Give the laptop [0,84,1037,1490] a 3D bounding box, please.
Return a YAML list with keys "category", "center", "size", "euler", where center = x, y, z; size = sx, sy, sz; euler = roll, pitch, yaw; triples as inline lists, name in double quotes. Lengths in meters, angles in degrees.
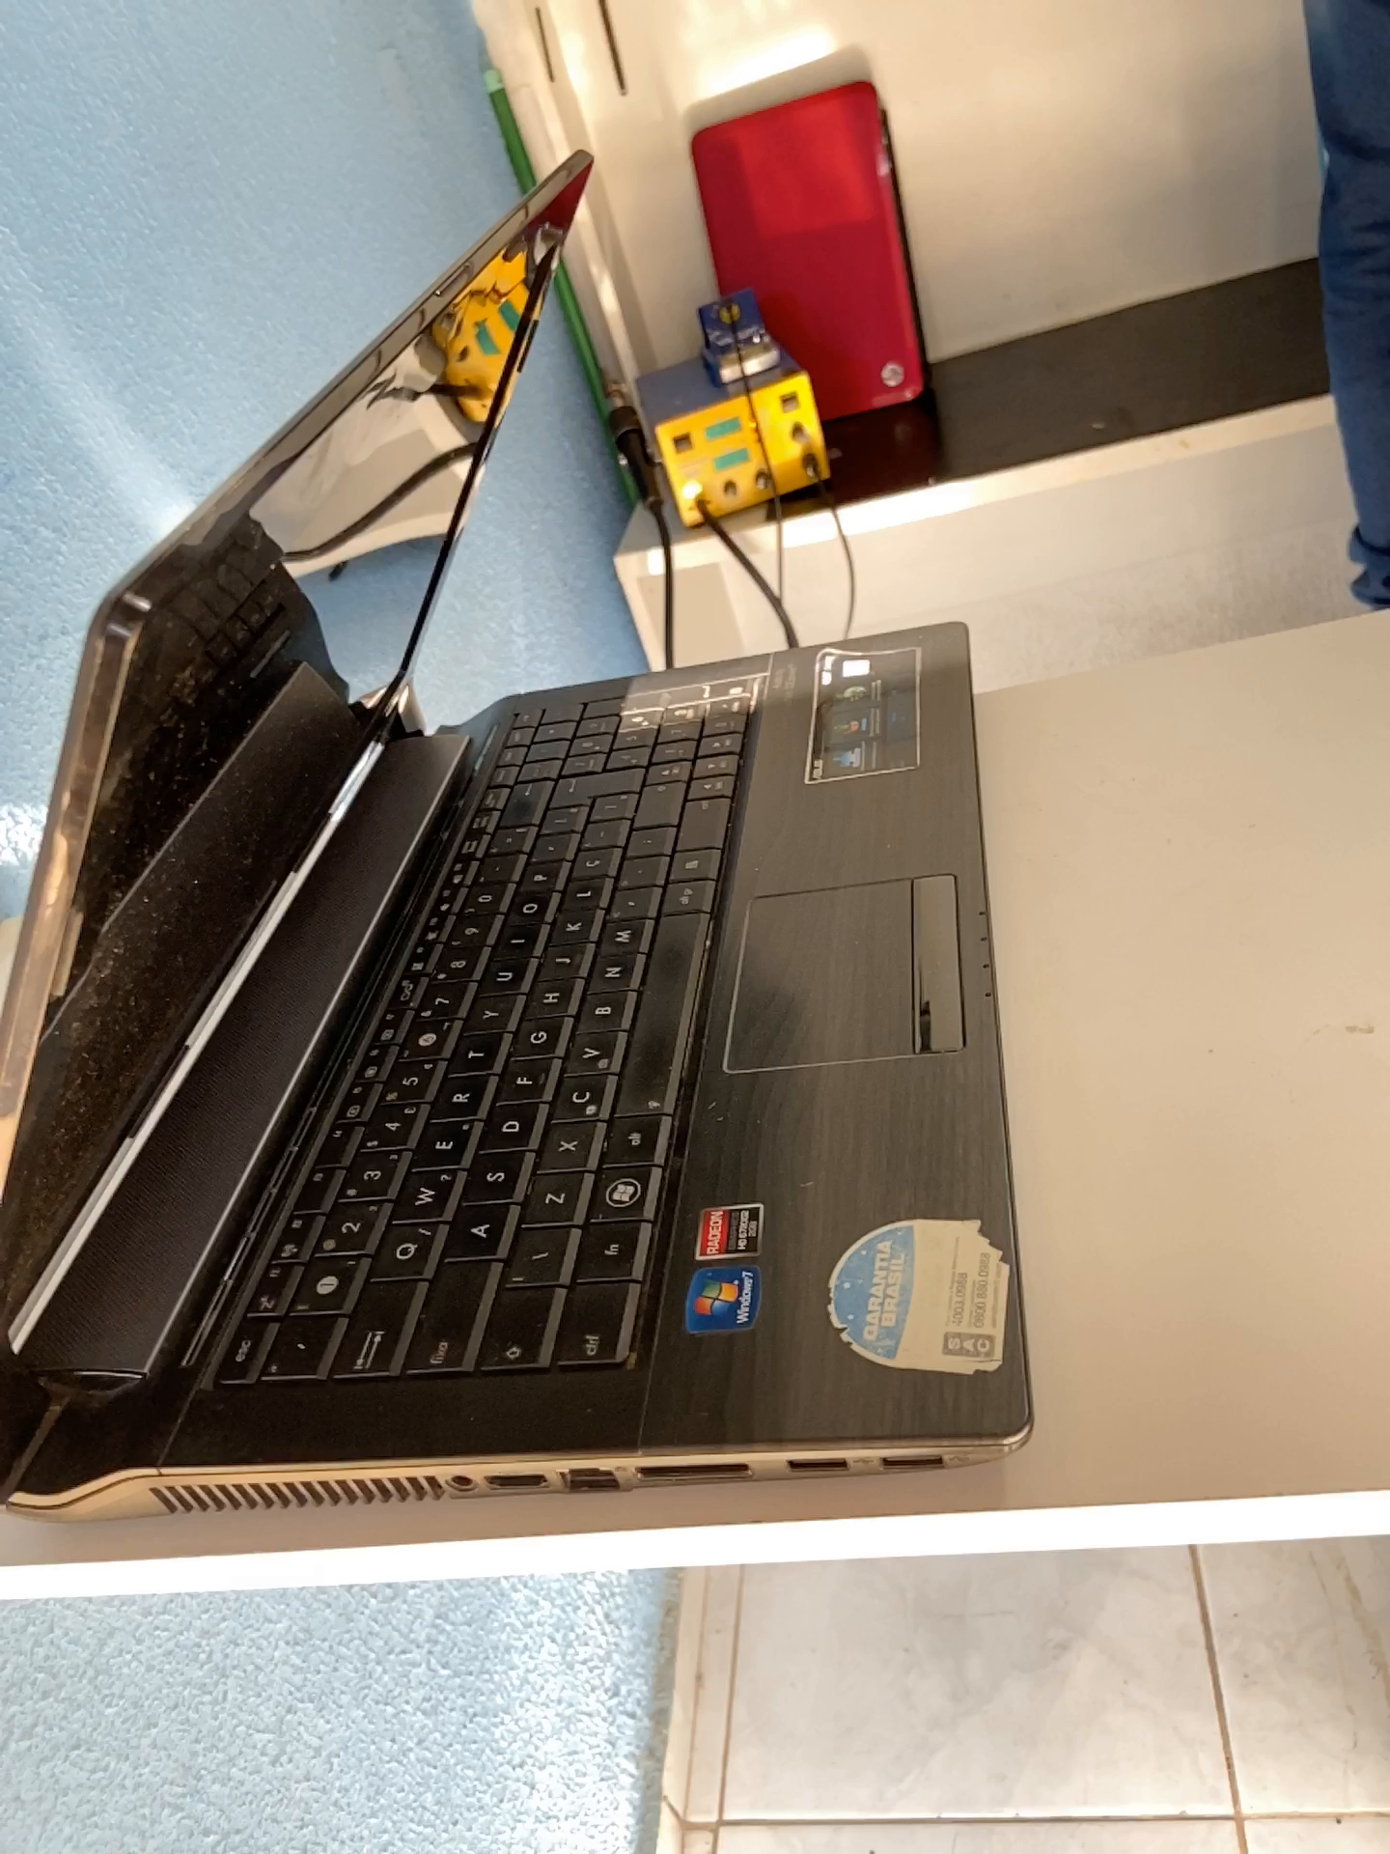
- category: "laptop"
  center: [-0.059, -0.074, 0.427]
  size: [0.255, 0.208, 0.389]
  euler: [-10, 34, 15]
